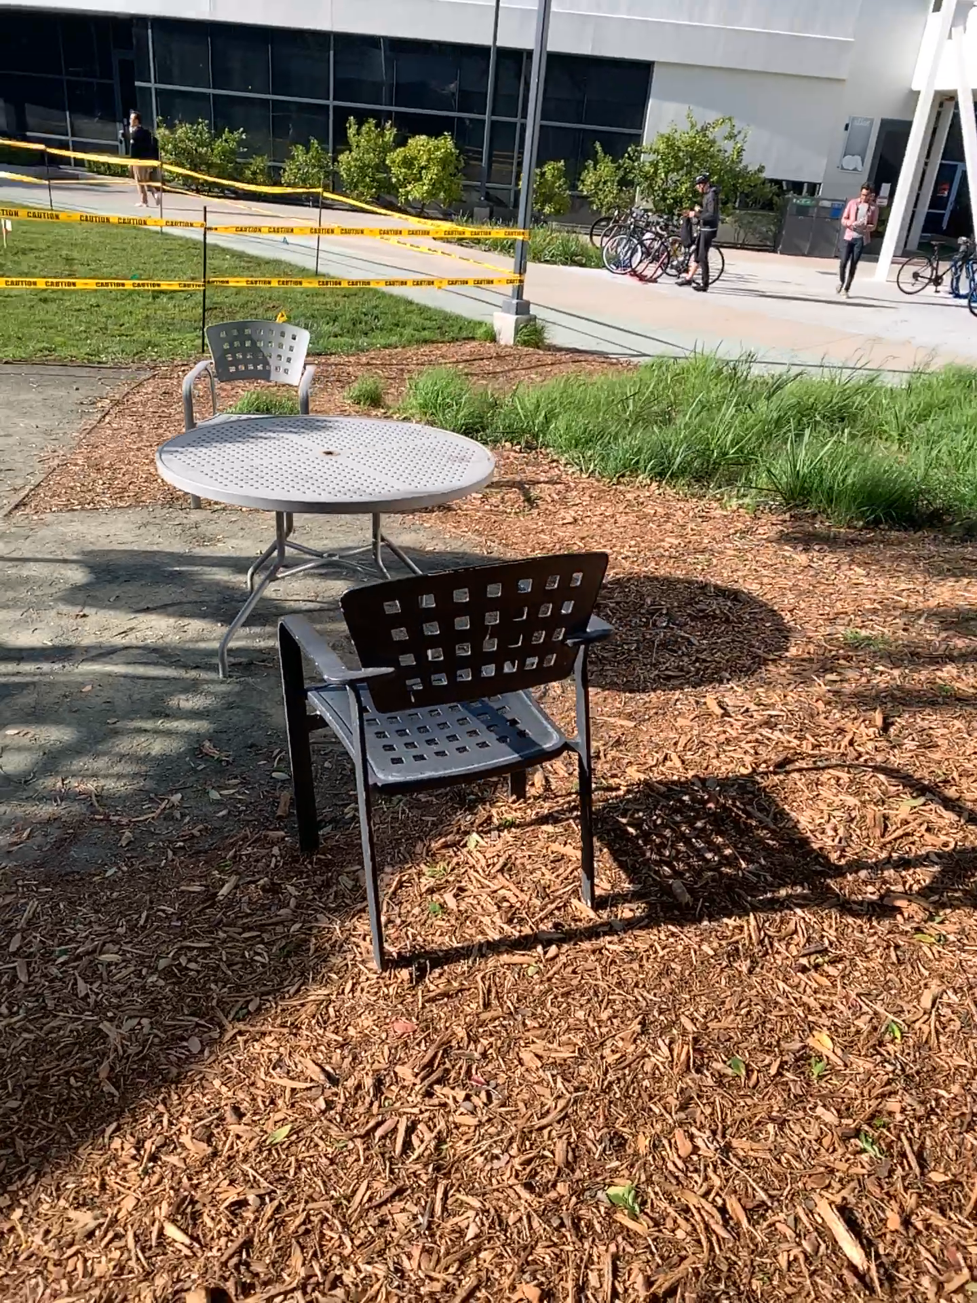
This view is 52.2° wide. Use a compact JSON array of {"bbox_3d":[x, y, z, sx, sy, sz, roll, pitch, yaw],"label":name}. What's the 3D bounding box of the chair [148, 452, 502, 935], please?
[{"bbox_3d":[-0.338,0.049,1.908,0.520,0.716,0.503,-5,29,-20],"label":"chair"}]
